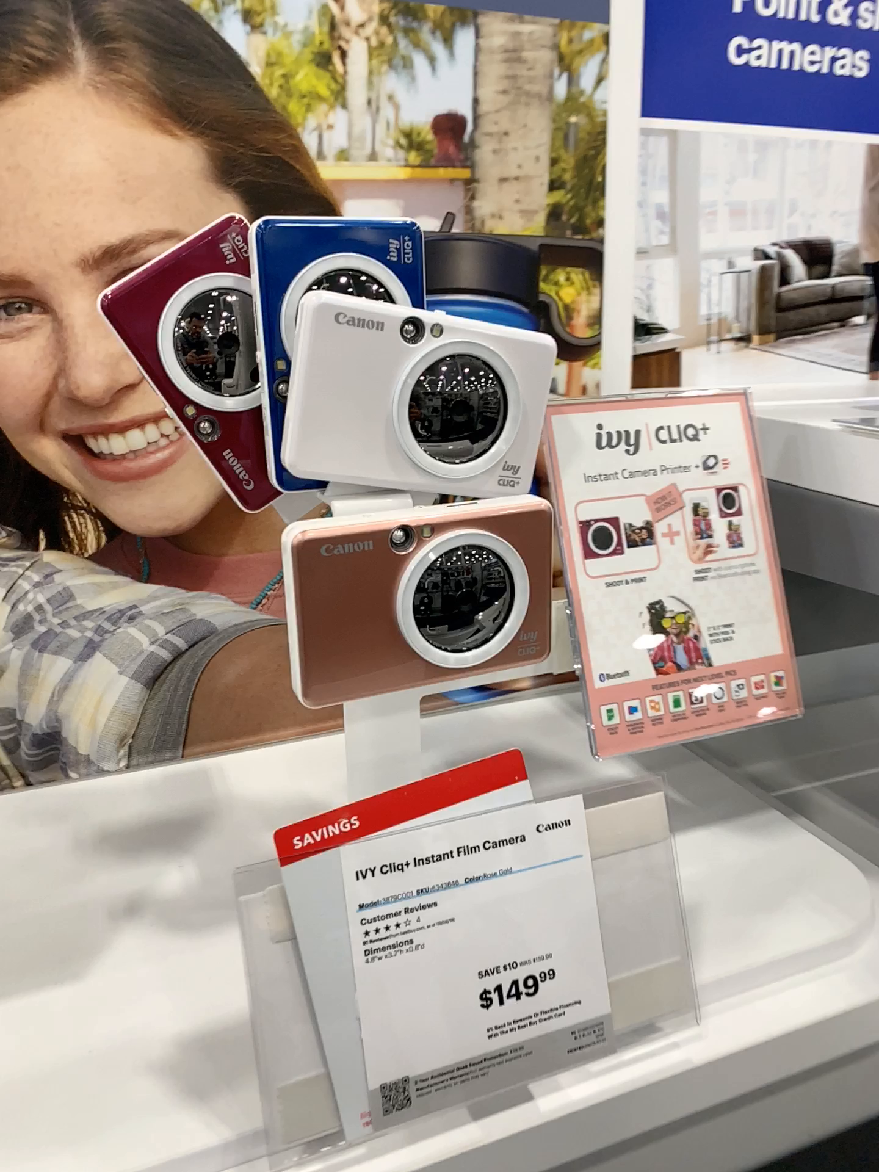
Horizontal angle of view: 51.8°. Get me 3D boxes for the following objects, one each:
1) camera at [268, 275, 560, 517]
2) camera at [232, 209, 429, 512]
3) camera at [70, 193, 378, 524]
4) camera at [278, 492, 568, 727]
[{"bbox_3d":[-0.011,-0.084,0.417,0.120,0.090,0.030,3,13,-26],"label":"camera"},{"bbox_3d":[-0.050,-0.105,0.422,0.080,0.130,0.030,-6,16,-14],"label":"camera"},{"bbox_3d":[-0.096,-0.102,0.419,0.080,0.119,0.030,-34,21,-4],"label":"camera"},{"bbox_3d":[-0.005,0.007,0.392,0.120,0.080,0.030,-8,17,-23],"label":"camera"}]
